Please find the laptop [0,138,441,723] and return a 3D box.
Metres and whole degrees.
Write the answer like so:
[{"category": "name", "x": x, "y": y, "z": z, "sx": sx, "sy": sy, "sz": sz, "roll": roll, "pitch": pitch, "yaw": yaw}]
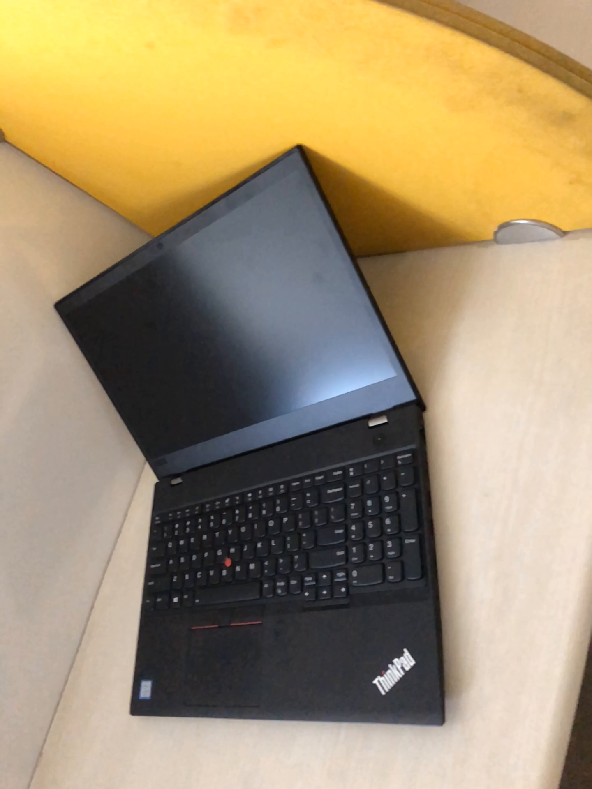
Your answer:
[{"category": "laptop", "x": -0.085, "y": 0.055, "z": 0.587, "sx": 0.345, "sy": 0.150, "sz": 0.421, "roll": -20, "pitch": 59, "yaw": 35}]
